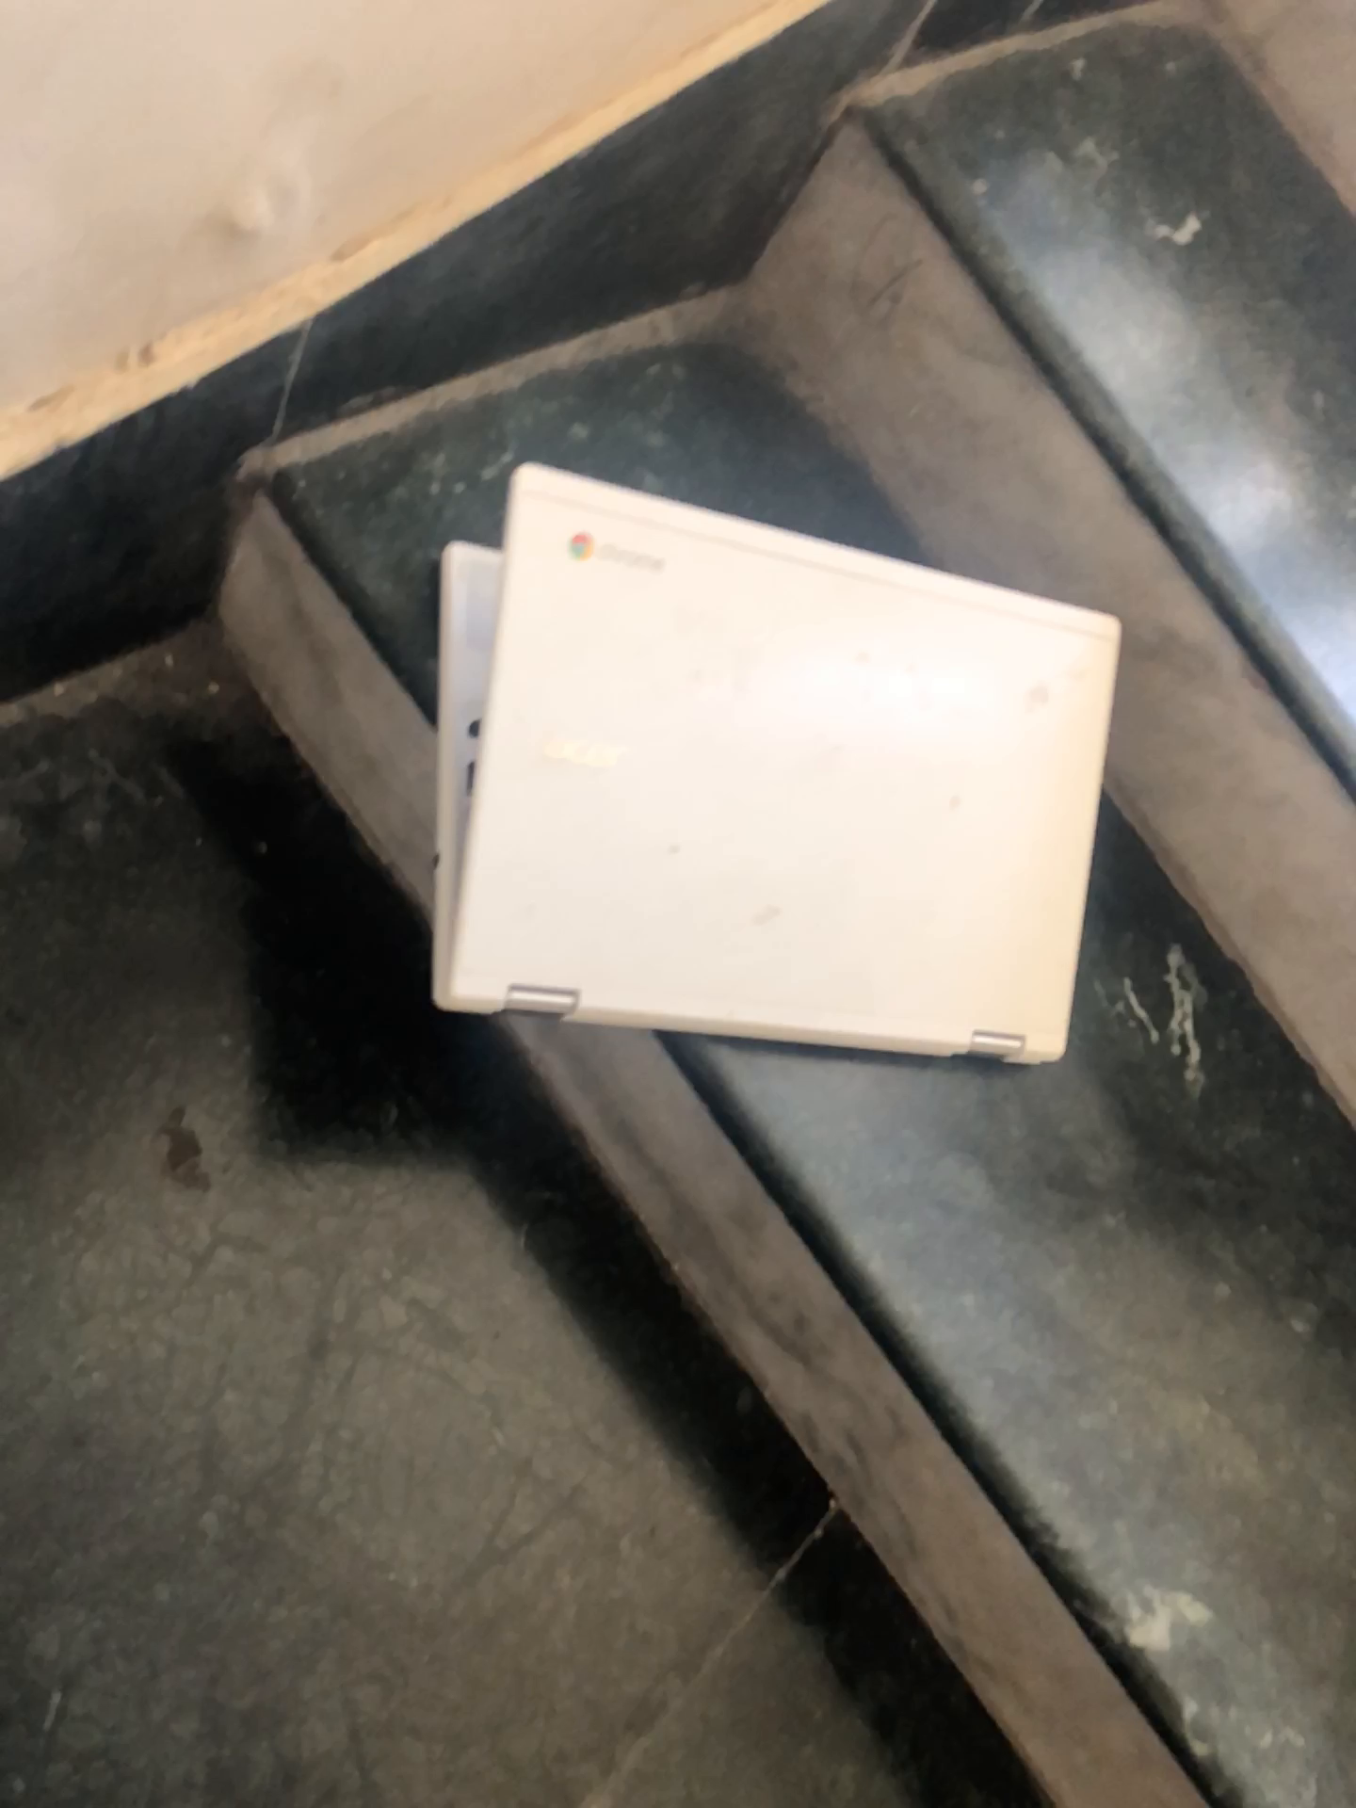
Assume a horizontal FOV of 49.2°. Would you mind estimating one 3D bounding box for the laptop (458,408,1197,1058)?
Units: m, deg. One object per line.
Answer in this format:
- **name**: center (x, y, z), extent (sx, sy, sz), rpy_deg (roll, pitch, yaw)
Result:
- **laptop**: center (0.061, -0.053, 0.601), extent (0.282, 0.091, 0.190), rpy_deg (7, 70, -27)
